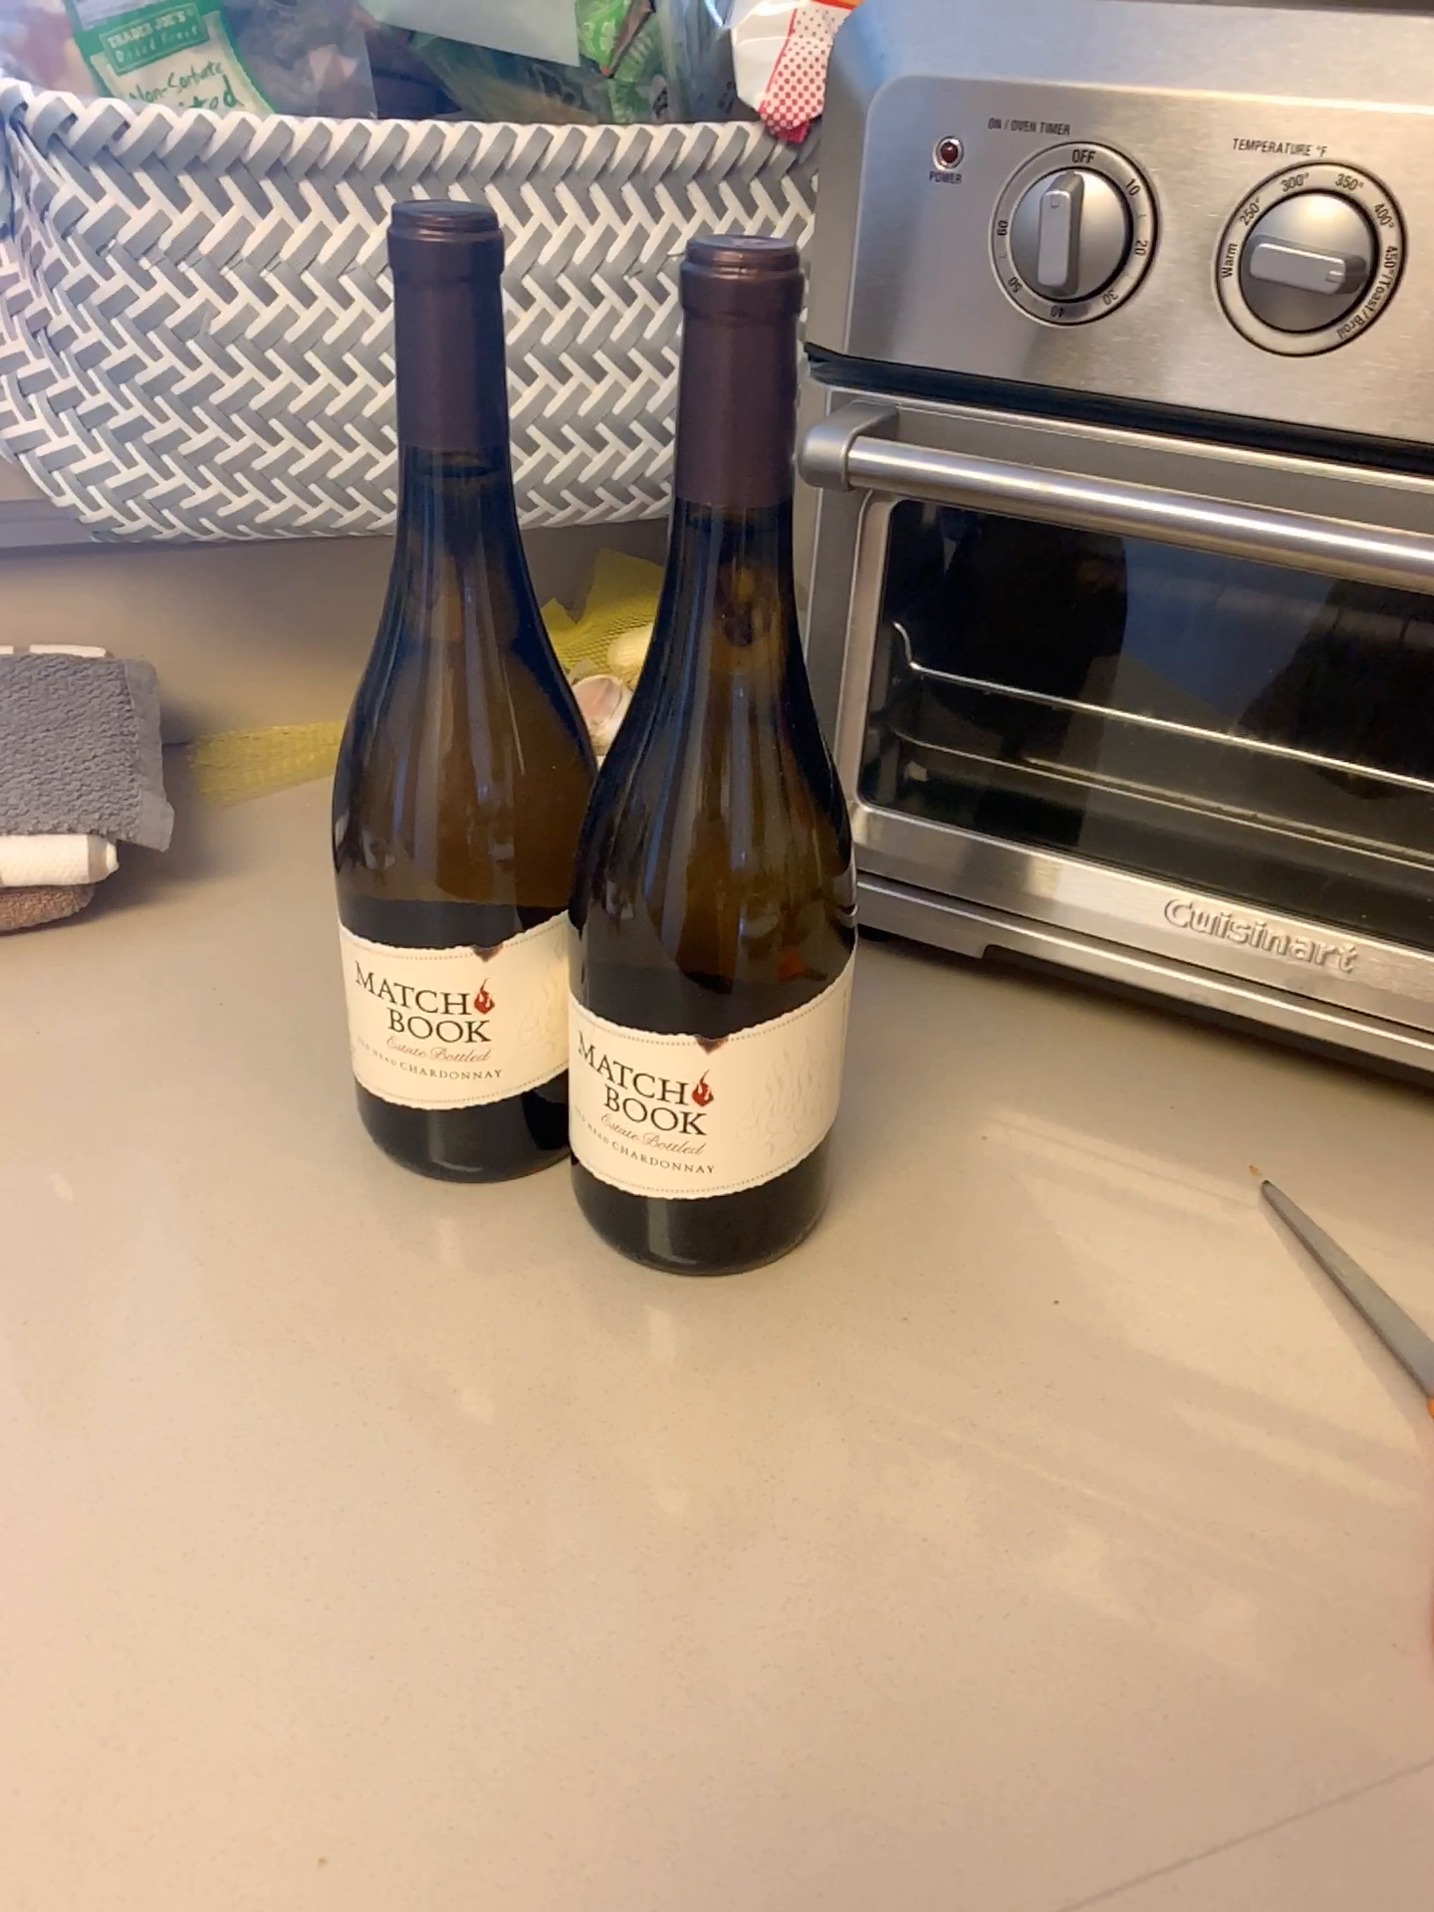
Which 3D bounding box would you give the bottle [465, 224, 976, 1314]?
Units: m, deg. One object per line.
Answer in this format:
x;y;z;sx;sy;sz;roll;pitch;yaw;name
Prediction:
-0.001;-0.044;0.416;0.090;0.278;0.090;2;32;-1;bottle

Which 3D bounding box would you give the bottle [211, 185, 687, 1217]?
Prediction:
-0.070;-0.068;0.453;0.090;0.288;0.090;2;32;-1;bottle
